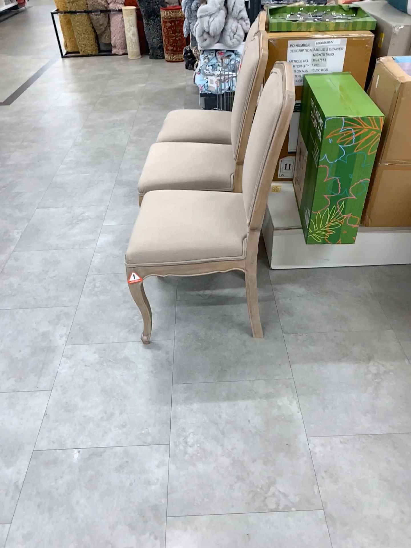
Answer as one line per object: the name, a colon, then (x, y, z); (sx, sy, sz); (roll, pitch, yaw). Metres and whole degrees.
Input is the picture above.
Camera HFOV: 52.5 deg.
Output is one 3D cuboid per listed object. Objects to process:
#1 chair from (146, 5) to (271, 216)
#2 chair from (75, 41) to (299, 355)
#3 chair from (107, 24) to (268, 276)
chair: (0.037, -0.878, 2.298); (0.545, 0.973, 0.511); (1, 36, 4)
chair: (-0.037, -0.243, 1.507); (0.545, 0.973, 0.511); (-1, 36, 0)
chair: (-0.037, -0.542, 1.901); (0.545, 0.973, 0.511); (1, 36, 4)
